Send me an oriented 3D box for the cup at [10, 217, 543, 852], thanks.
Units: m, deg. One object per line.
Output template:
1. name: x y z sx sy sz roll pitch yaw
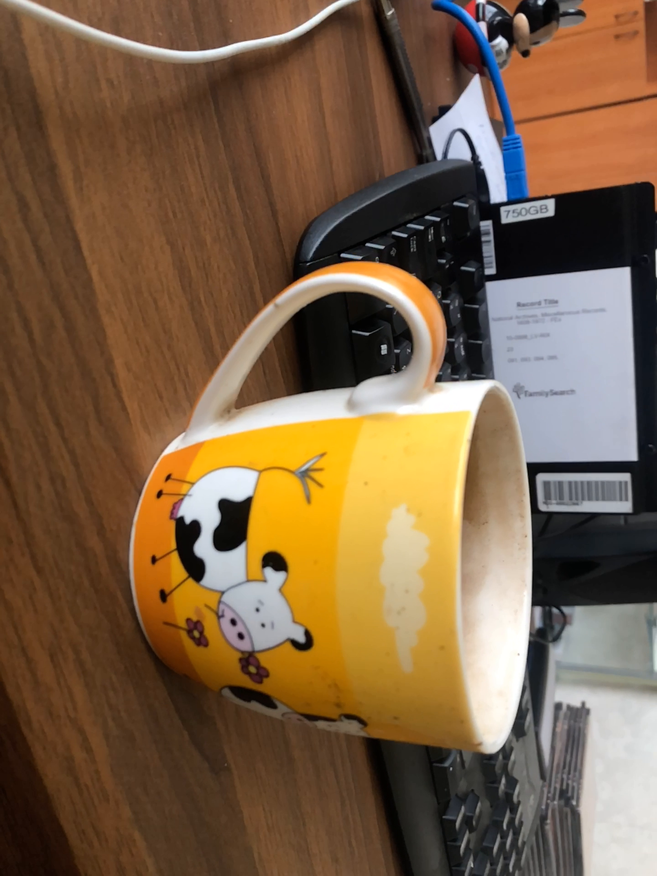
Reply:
1. cup: 0.001 0.019 0.208 0.093 0.095 0.135 -45 129 -58
